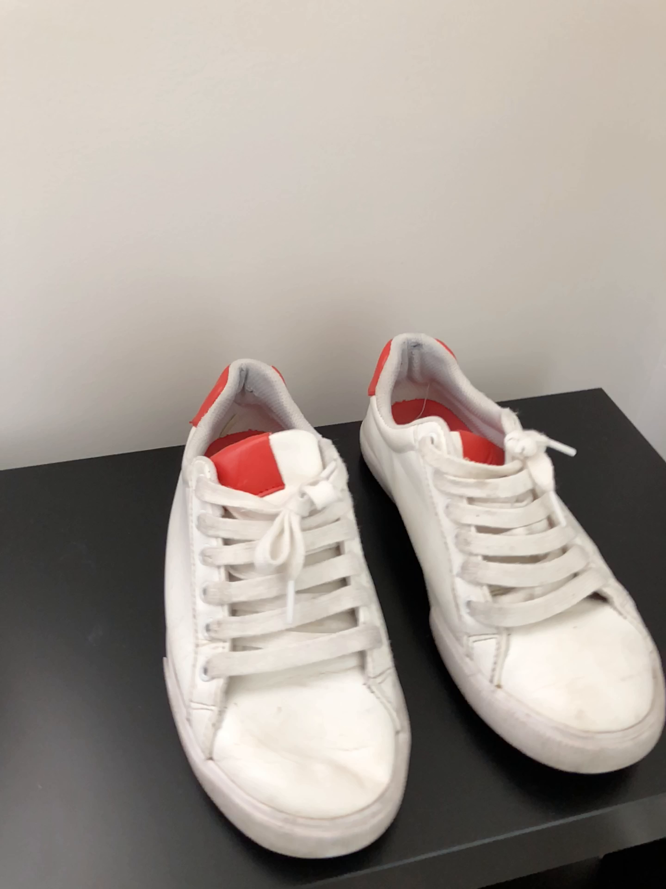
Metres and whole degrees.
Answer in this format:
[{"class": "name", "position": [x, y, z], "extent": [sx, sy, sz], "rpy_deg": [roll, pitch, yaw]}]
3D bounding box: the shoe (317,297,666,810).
[{"class": "shoe", "position": [0.074, 0.027, 0.348], "extent": [0.100, 0.080, 0.231], "rpy_deg": [-10, 42, -14]}]

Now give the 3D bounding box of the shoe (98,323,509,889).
[{"class": "shoe", "position": [-0.033, 0.048, 0.316], "extent": [0.102, 0.080, 0.236], "rpy_deg": [-10, 42, -14]}]
